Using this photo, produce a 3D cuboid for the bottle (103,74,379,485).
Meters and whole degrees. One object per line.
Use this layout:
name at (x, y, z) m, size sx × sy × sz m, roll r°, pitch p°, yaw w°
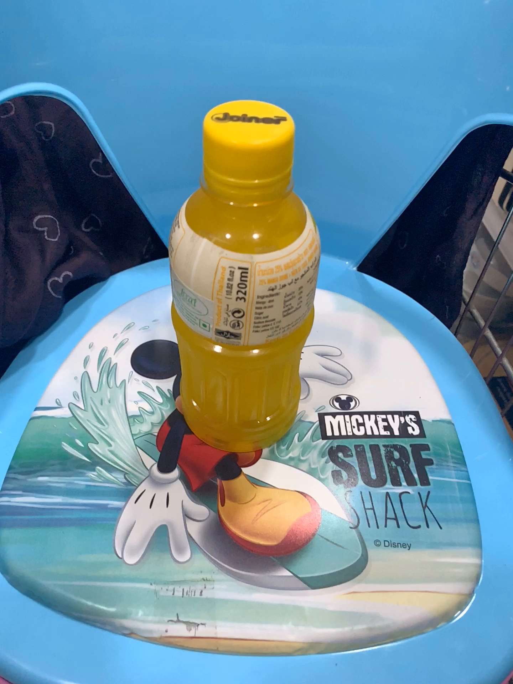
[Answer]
bottle at (-0.005, -0.017, 0.210) m, size 0.060 × 0.140 × 0.060 m, roll 1°, pitch 44°, yaw -1°
